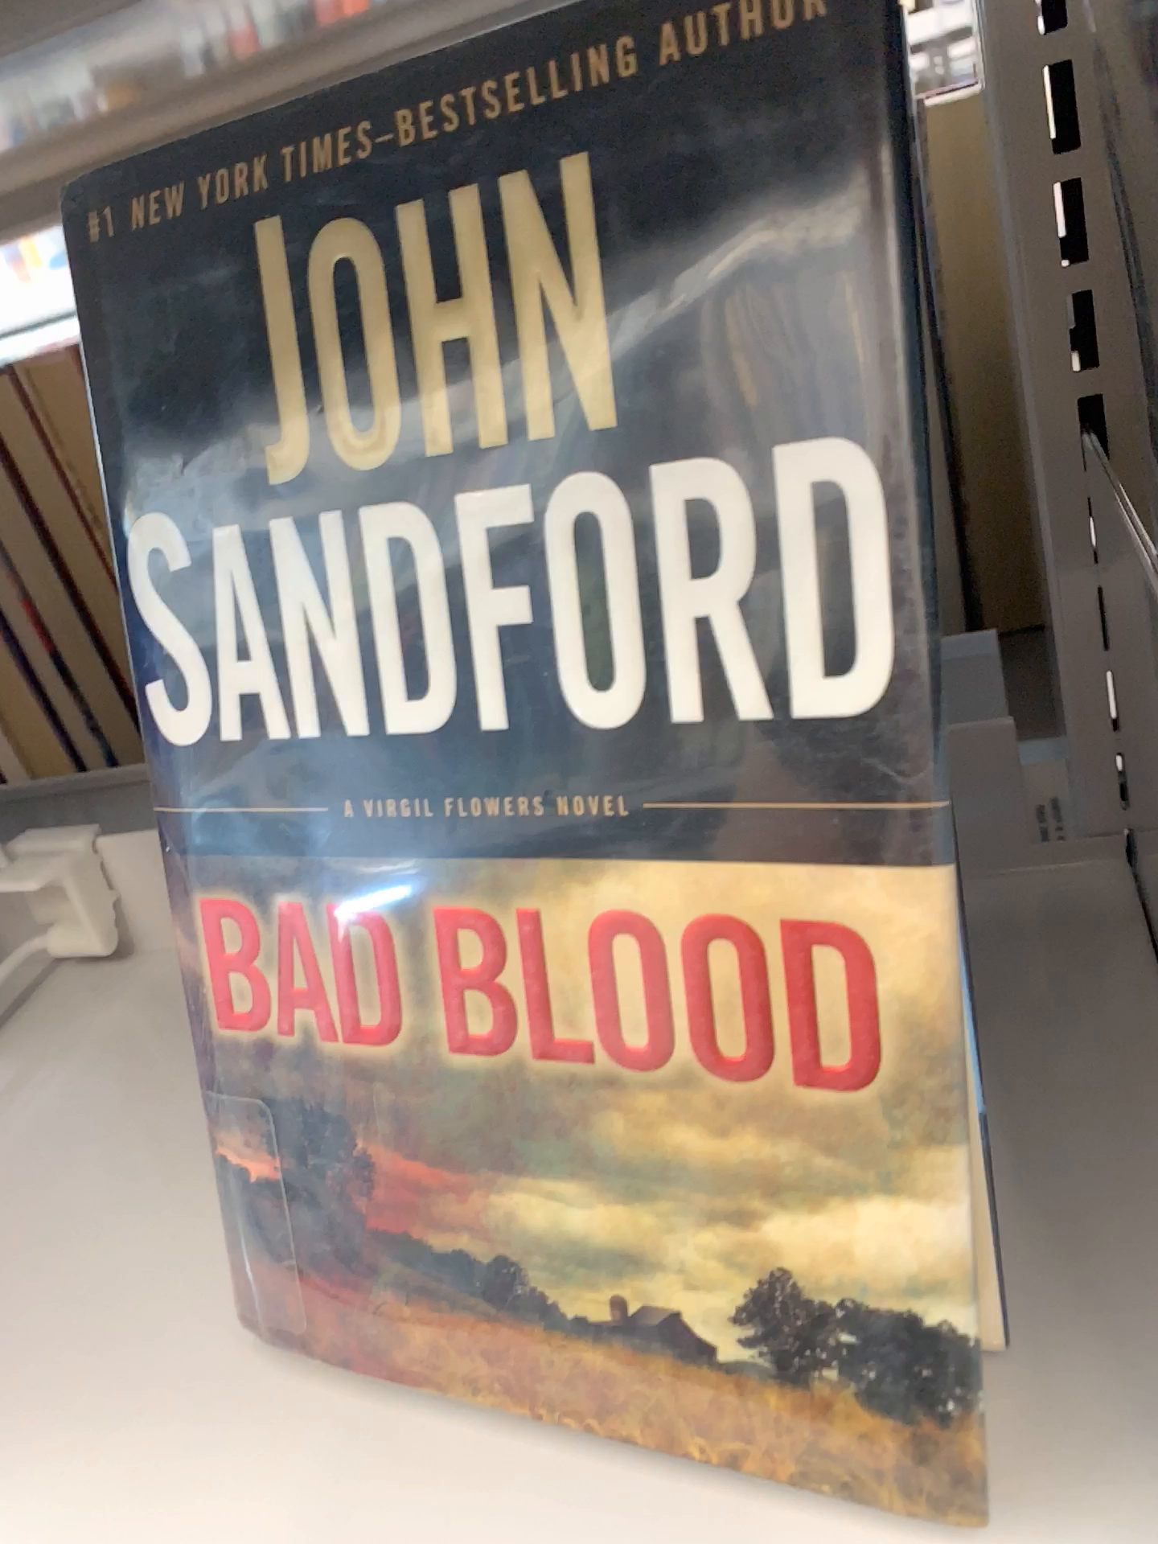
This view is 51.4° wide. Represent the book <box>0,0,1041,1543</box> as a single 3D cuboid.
[{"bbox_3d":[-0.020,0.001,0.209,0.165,0.215,0.050,-3,13,30],"label":"book"}]
